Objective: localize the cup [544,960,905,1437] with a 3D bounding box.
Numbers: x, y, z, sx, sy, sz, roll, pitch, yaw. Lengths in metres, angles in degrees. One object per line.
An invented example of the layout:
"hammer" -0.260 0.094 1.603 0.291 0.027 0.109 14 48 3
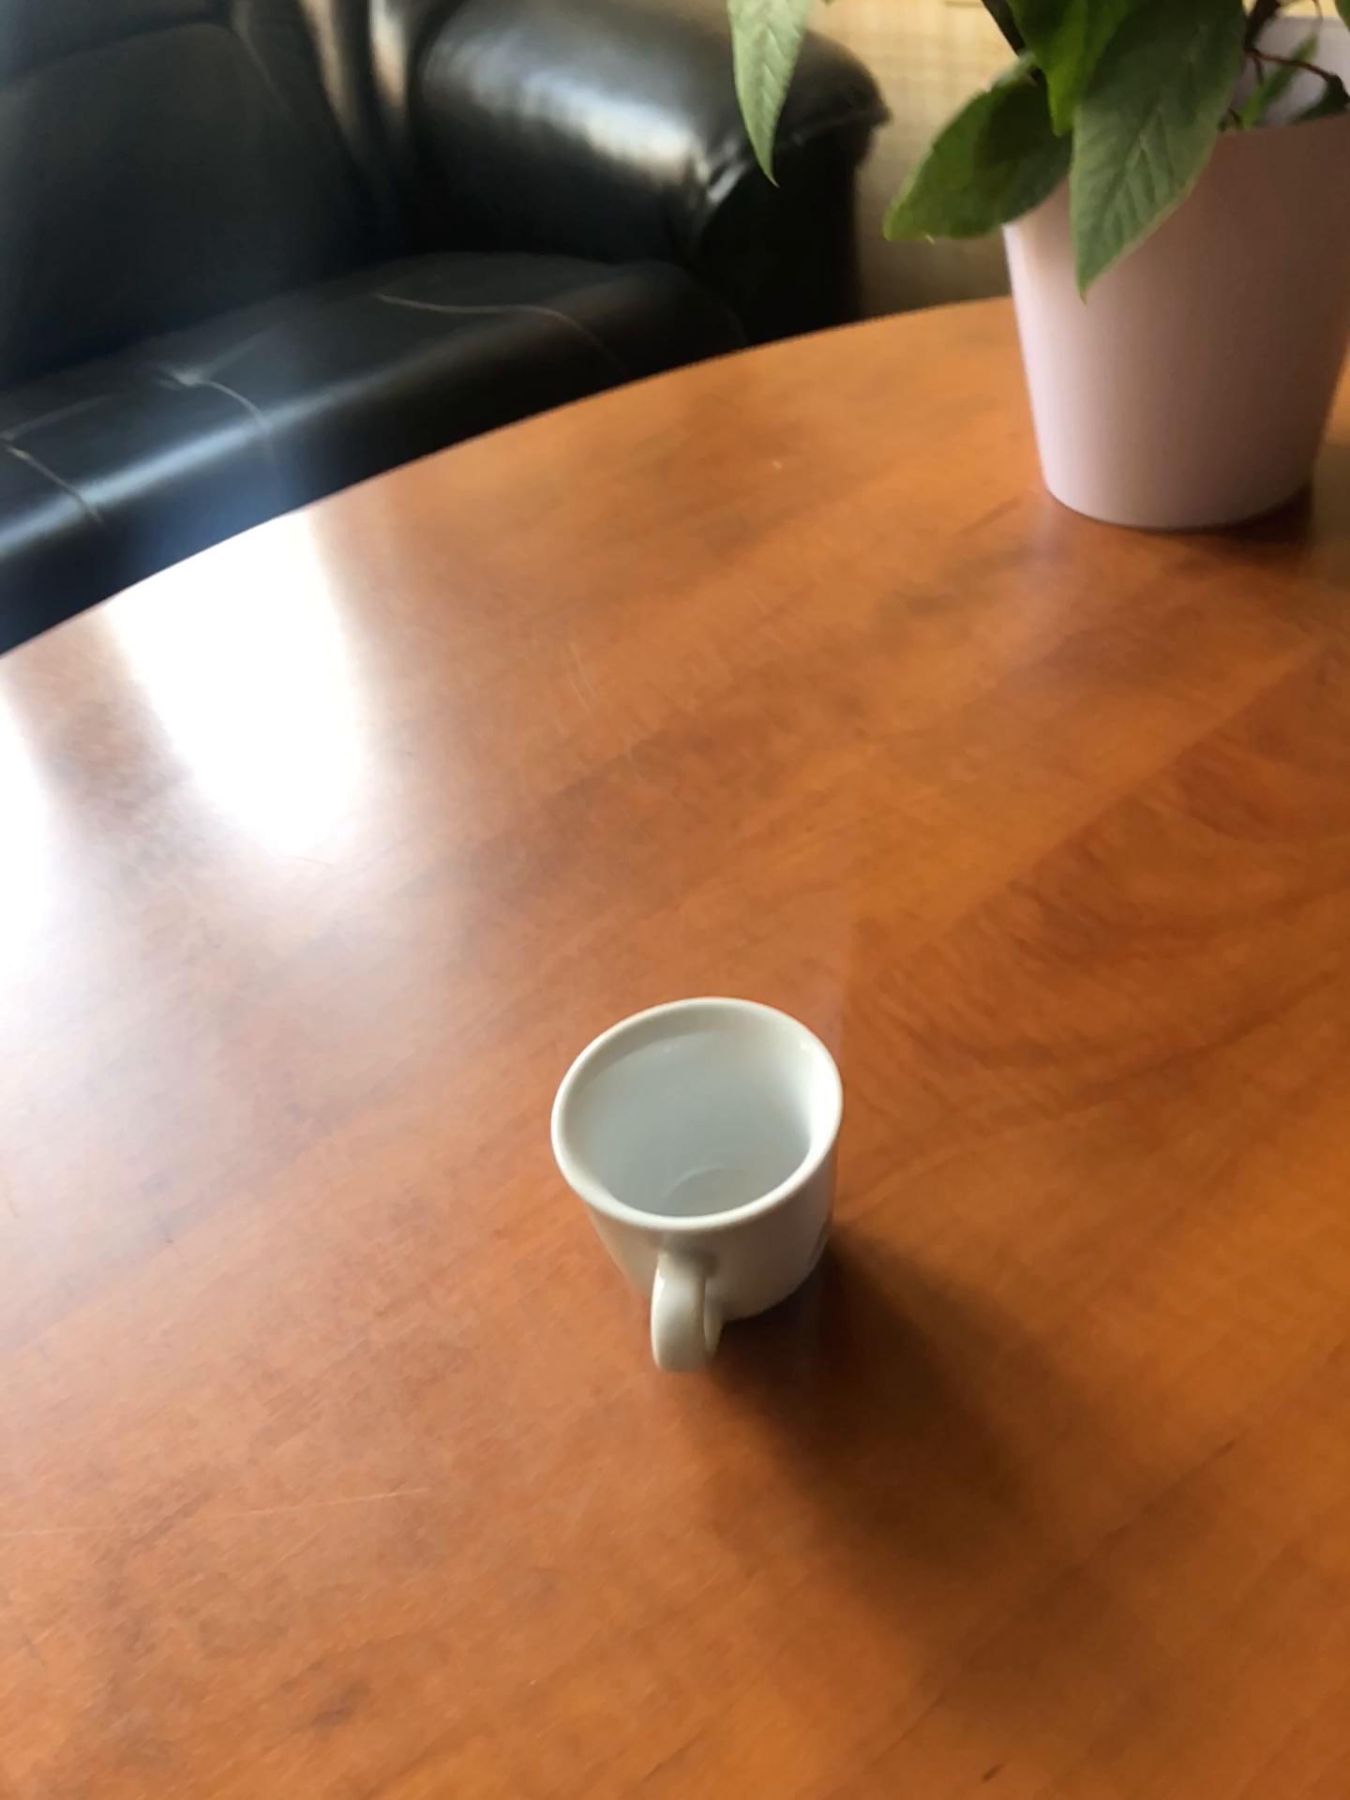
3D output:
"cup" 0.012 0.062 0.321 0.065 0.050 0.083 -6 40 6
